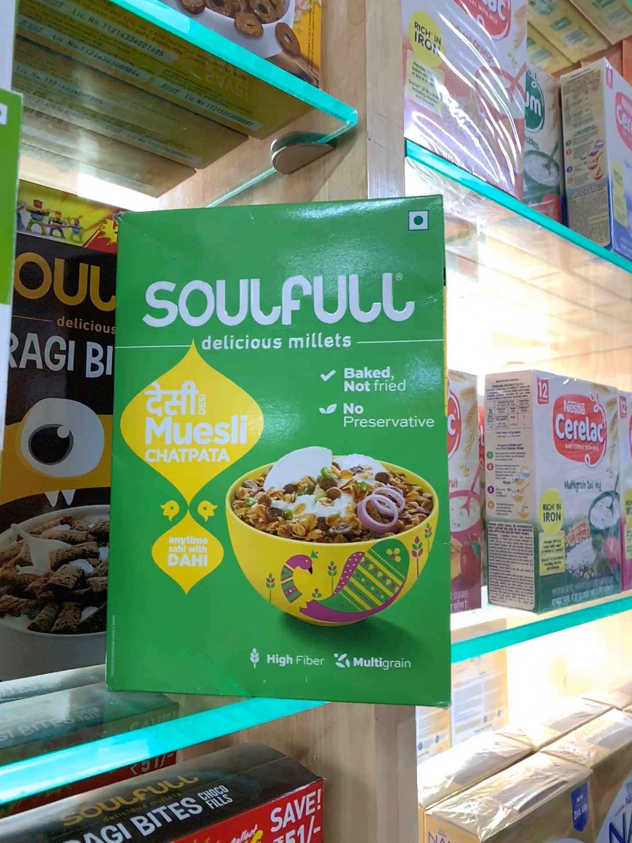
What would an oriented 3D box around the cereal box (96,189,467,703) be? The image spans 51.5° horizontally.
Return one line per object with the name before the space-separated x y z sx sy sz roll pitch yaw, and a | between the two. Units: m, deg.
cereal box | -0.014 0.009 0.319 0.160 0.220 0.060 -1 -6 7
